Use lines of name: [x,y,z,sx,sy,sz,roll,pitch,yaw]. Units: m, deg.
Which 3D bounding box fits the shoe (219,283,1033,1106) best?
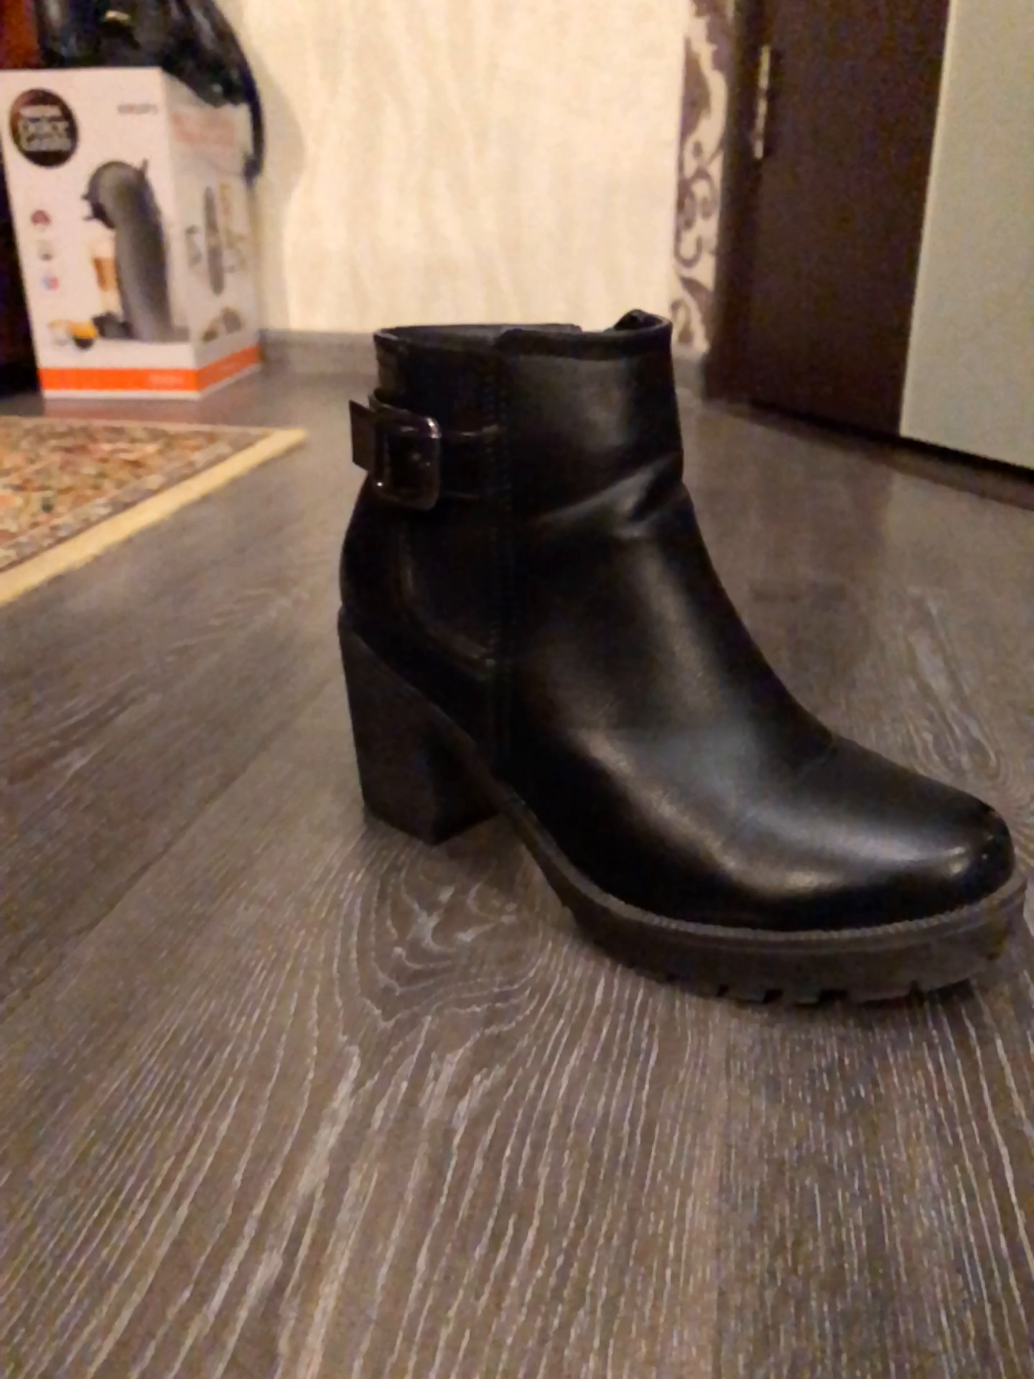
shoe: [0.035,-0.022,0.346,0.240,0.179,0.090,15,26,32]
